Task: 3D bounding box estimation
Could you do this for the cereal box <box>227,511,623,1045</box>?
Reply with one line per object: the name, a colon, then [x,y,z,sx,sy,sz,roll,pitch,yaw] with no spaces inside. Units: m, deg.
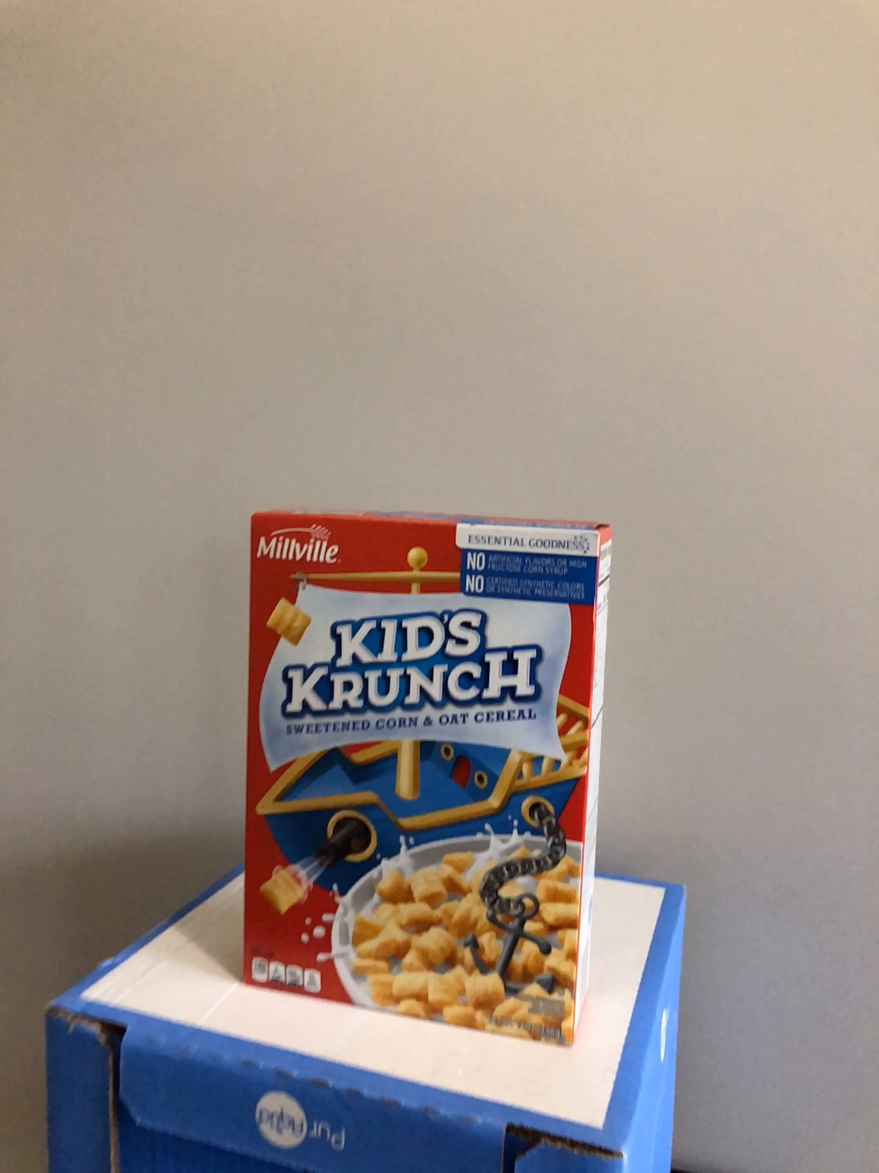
cereal box: [-0.011,0.098,0.555,0.210,0.270,0.060,4,7,16]
